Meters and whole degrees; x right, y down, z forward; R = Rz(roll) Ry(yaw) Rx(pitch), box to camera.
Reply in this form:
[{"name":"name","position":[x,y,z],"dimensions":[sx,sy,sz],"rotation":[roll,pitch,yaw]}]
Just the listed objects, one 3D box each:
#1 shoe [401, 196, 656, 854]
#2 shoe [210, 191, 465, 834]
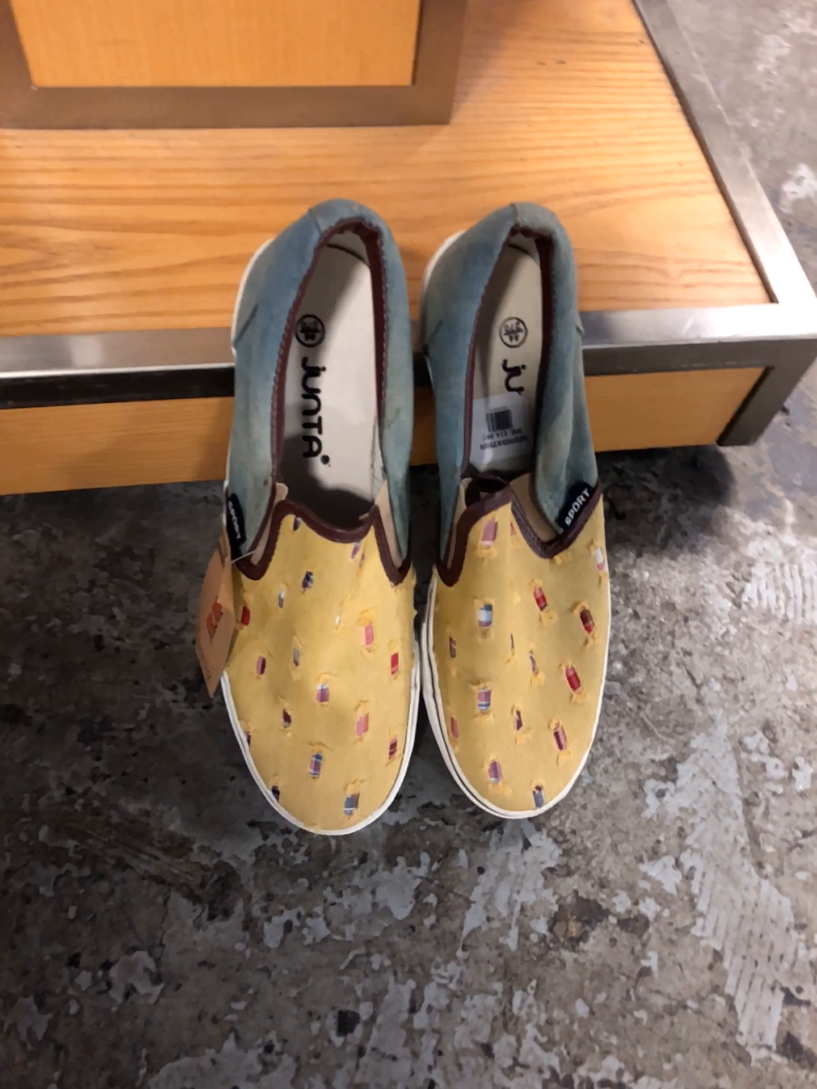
[{"name":"shoe","position":[0.046,-0.009,0.418],"dimensions":[0.090,0.279,0.100],"rotation":[-2,17,-2]},{"name":"shoe","position":[-0.036,-0.016,0.412],"dimensions":[0.090,0.259,0.120],"rotation":[1,17,-5]}]
